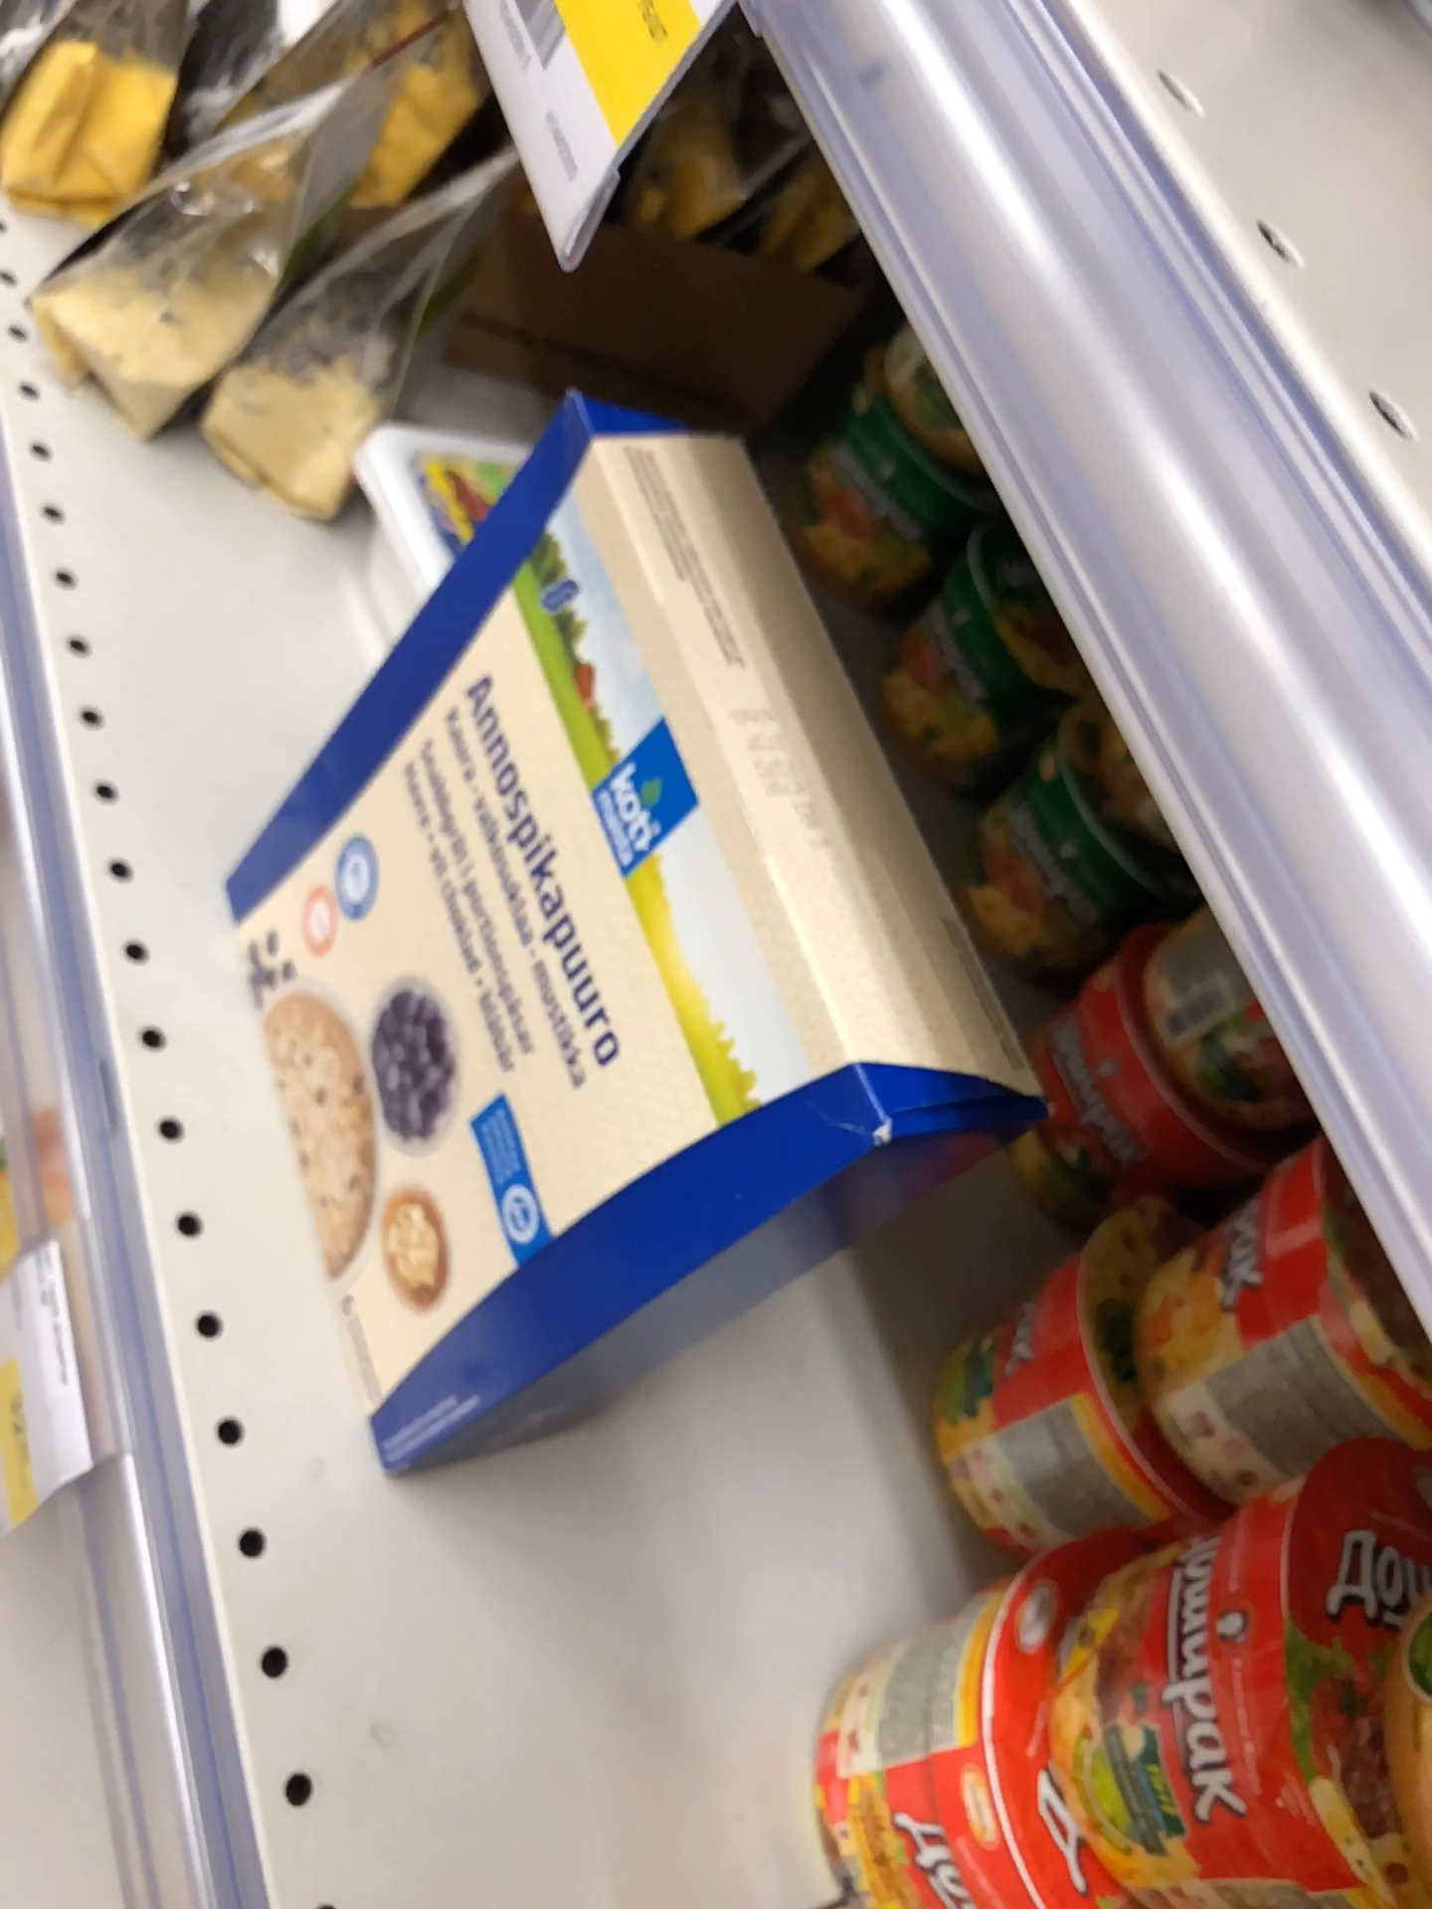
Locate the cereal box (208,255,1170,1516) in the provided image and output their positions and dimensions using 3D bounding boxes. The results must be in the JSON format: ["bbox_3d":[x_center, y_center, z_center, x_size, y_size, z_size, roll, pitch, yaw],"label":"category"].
[{"bbox_3d":[-0.028,-0.004,0.322,0.050,0.179,0.170,0,59,-41],"label":"cereal box"}]
